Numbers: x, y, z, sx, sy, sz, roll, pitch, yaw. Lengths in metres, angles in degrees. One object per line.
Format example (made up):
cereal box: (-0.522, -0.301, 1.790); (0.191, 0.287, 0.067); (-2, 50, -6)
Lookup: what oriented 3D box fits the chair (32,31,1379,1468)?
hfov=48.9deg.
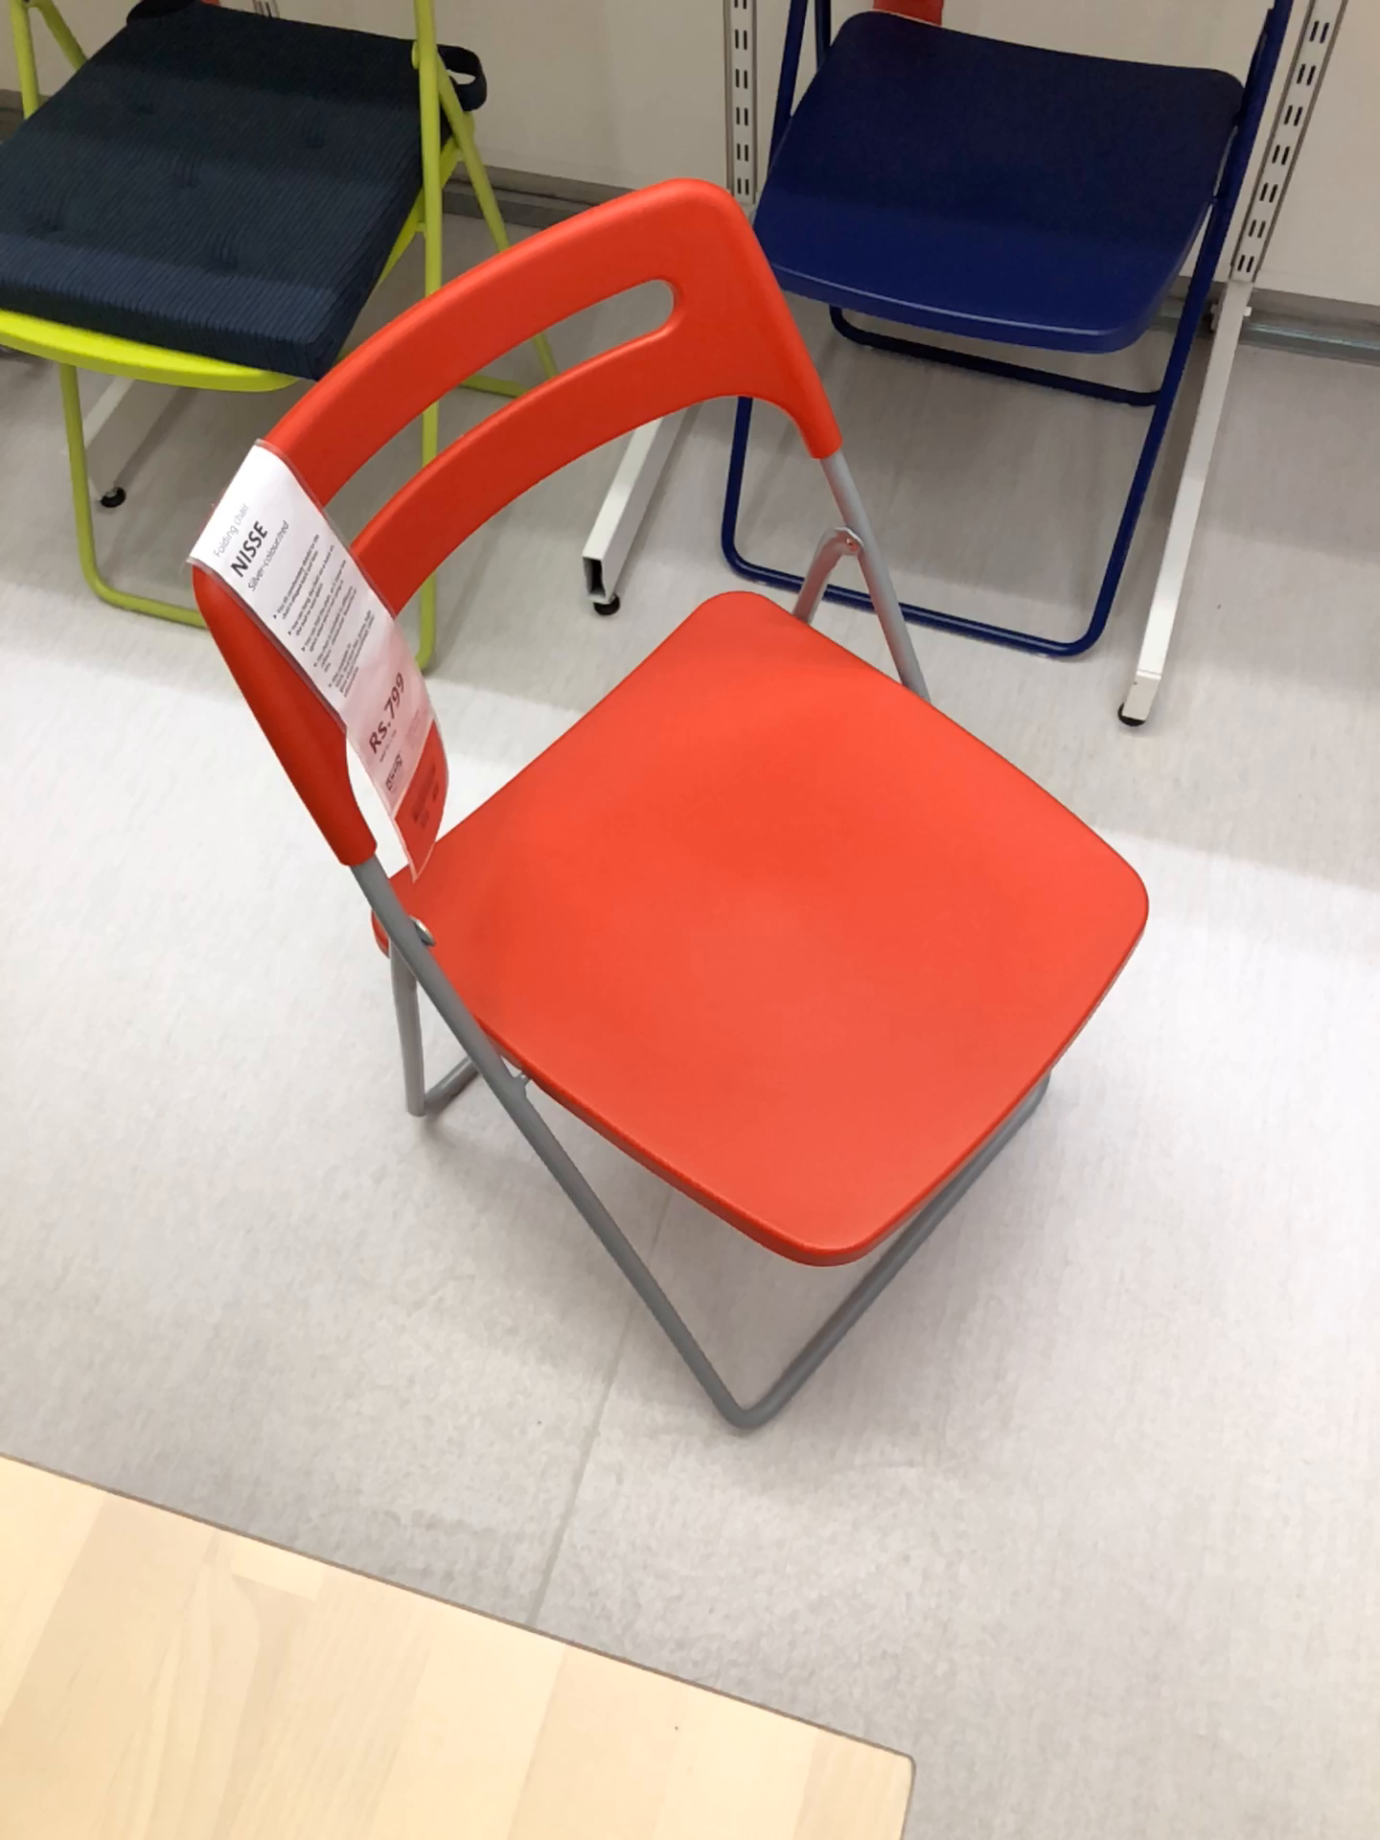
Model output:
chair: (0.036, -0.038, 0.944); (0.421, 0.677, 0.441); (38, 69, 21)
